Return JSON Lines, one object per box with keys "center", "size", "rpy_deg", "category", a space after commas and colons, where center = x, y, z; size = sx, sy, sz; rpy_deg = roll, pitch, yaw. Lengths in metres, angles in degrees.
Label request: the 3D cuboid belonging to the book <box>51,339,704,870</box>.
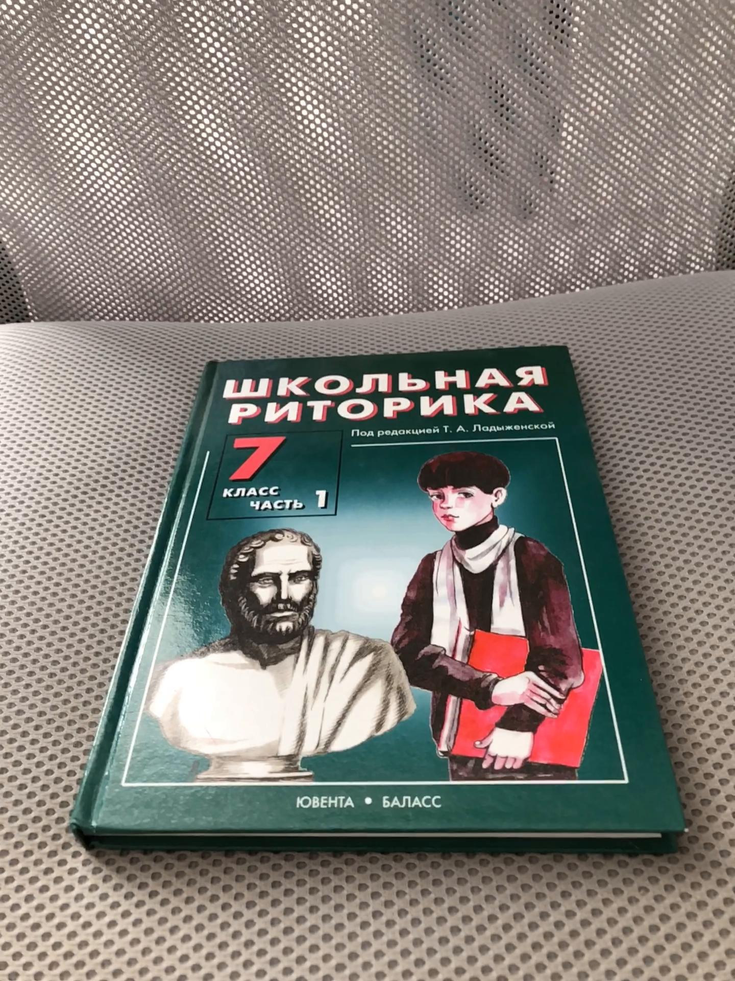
{"center": [0.004, 0.022, 0.293], "size": [0.167, 0.030, 0.211], "rpy_deg": [-2, 44, 3], "category": "book"}
